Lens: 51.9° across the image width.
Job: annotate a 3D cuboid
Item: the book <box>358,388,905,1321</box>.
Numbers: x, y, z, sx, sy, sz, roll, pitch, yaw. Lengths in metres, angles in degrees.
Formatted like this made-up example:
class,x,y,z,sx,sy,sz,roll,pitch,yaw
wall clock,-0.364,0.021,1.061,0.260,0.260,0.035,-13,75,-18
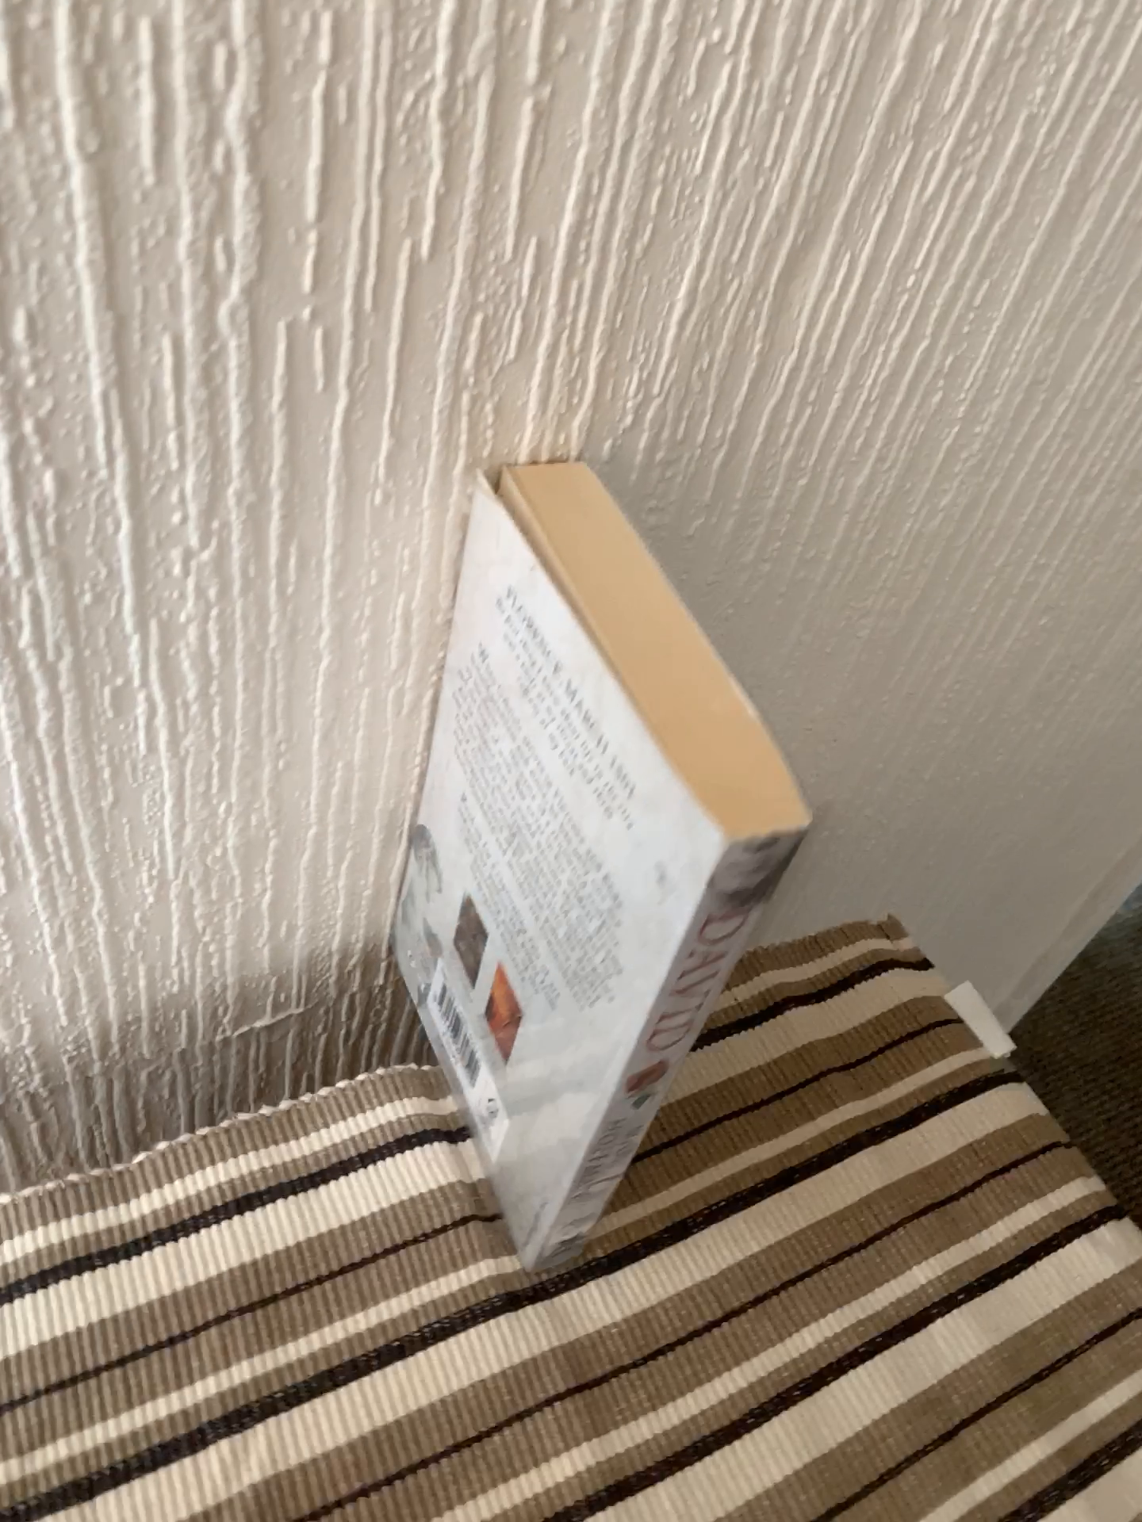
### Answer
class,x,y,z,sx,sy,sz,roll,pitch,yaw
book,-0.010,0.034,0.346,0.040,0.218,0.171,-9,50,-25
